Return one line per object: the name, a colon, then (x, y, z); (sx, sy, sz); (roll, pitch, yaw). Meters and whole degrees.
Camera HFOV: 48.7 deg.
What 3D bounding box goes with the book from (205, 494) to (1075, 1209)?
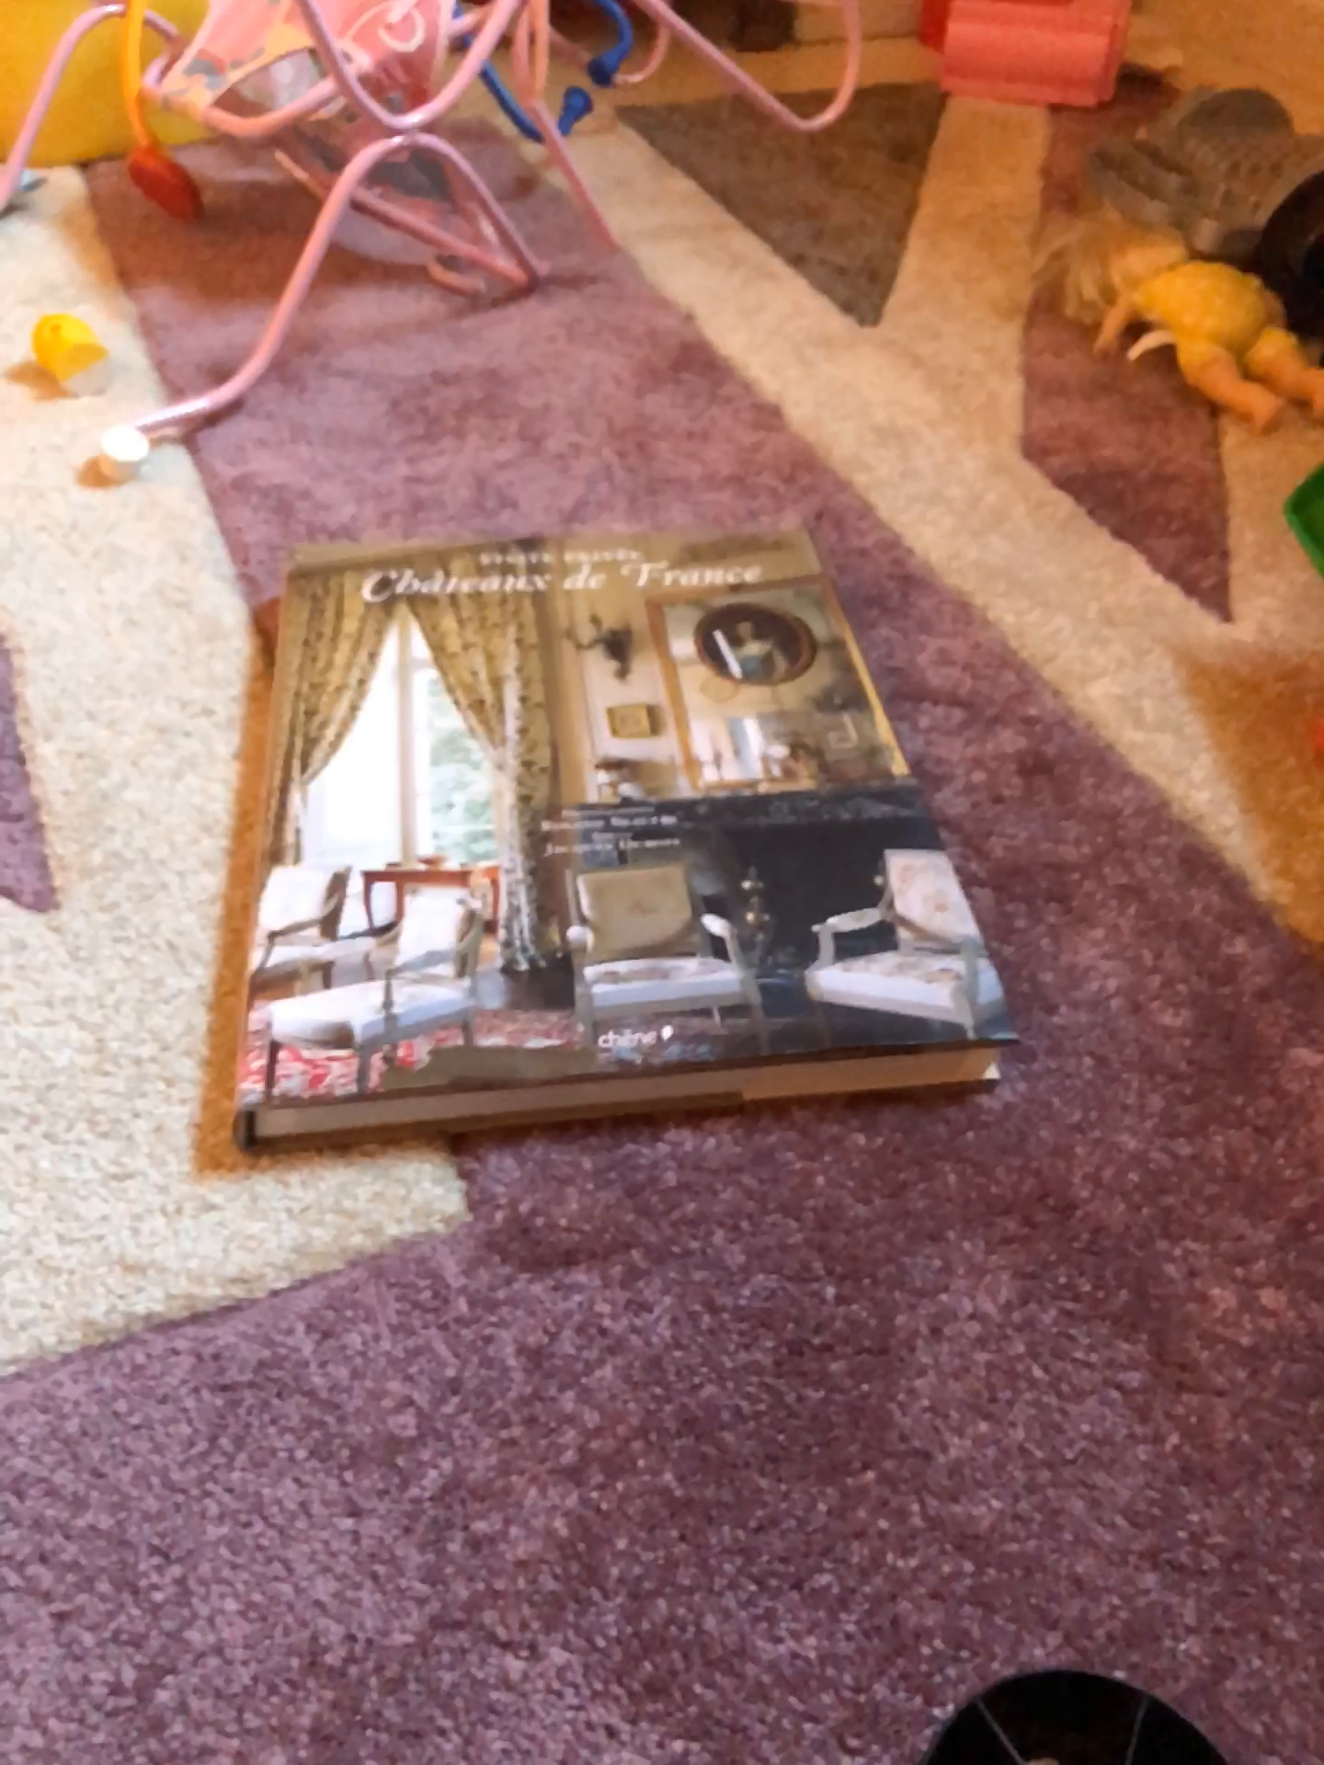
book: (-0.024, -0.042, 0.574); (0.260, 0.050, 0.342); (-3, 44, -7)
